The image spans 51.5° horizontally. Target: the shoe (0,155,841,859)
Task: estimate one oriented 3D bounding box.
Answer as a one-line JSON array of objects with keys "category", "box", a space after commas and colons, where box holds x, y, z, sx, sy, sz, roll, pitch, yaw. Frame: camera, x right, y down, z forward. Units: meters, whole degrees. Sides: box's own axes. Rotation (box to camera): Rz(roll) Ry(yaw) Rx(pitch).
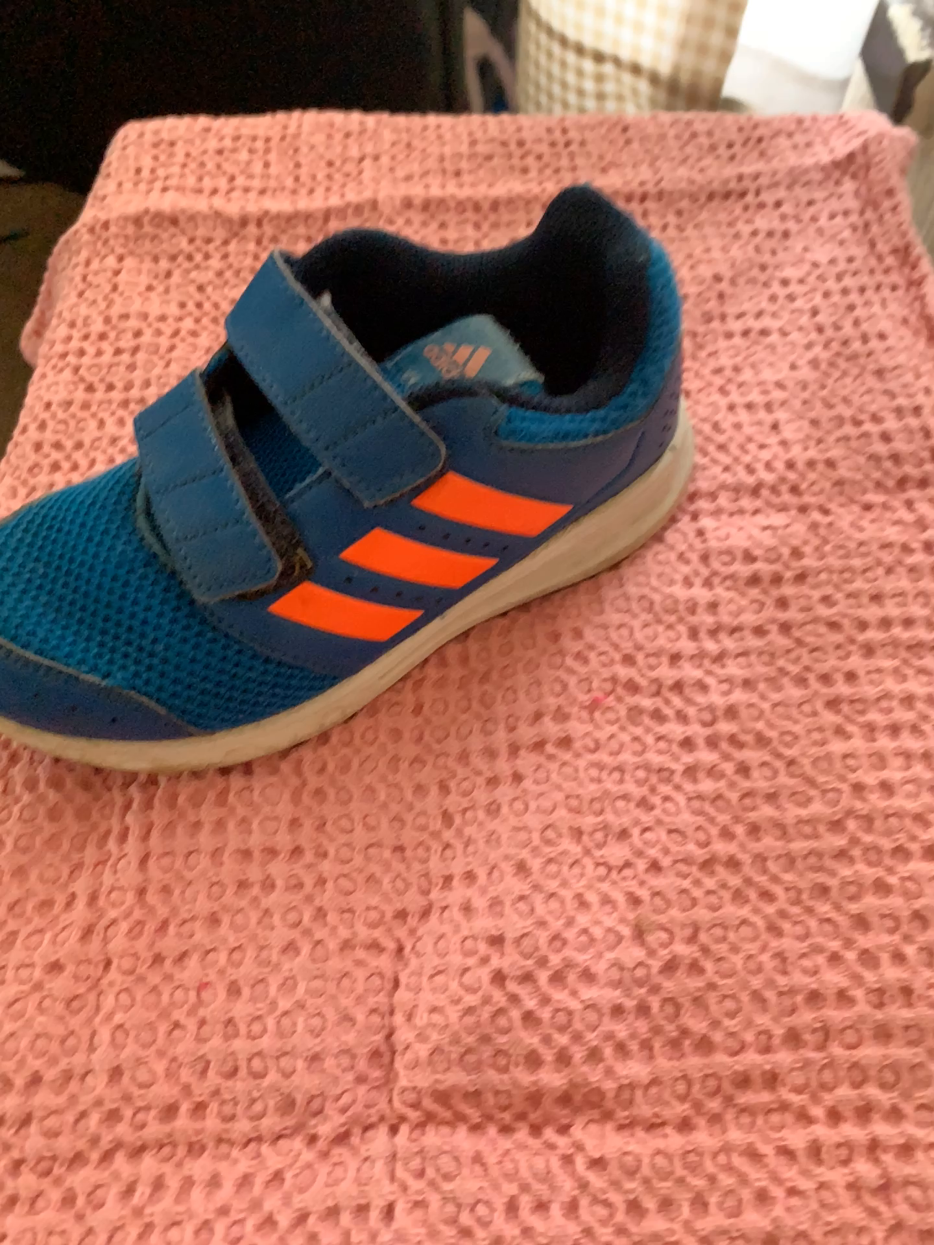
[{"category": "shoe", "box": [-0.026, -0.033, 0.251, 0.207, 0.075, 0.084, -24, 62, -12]}]
